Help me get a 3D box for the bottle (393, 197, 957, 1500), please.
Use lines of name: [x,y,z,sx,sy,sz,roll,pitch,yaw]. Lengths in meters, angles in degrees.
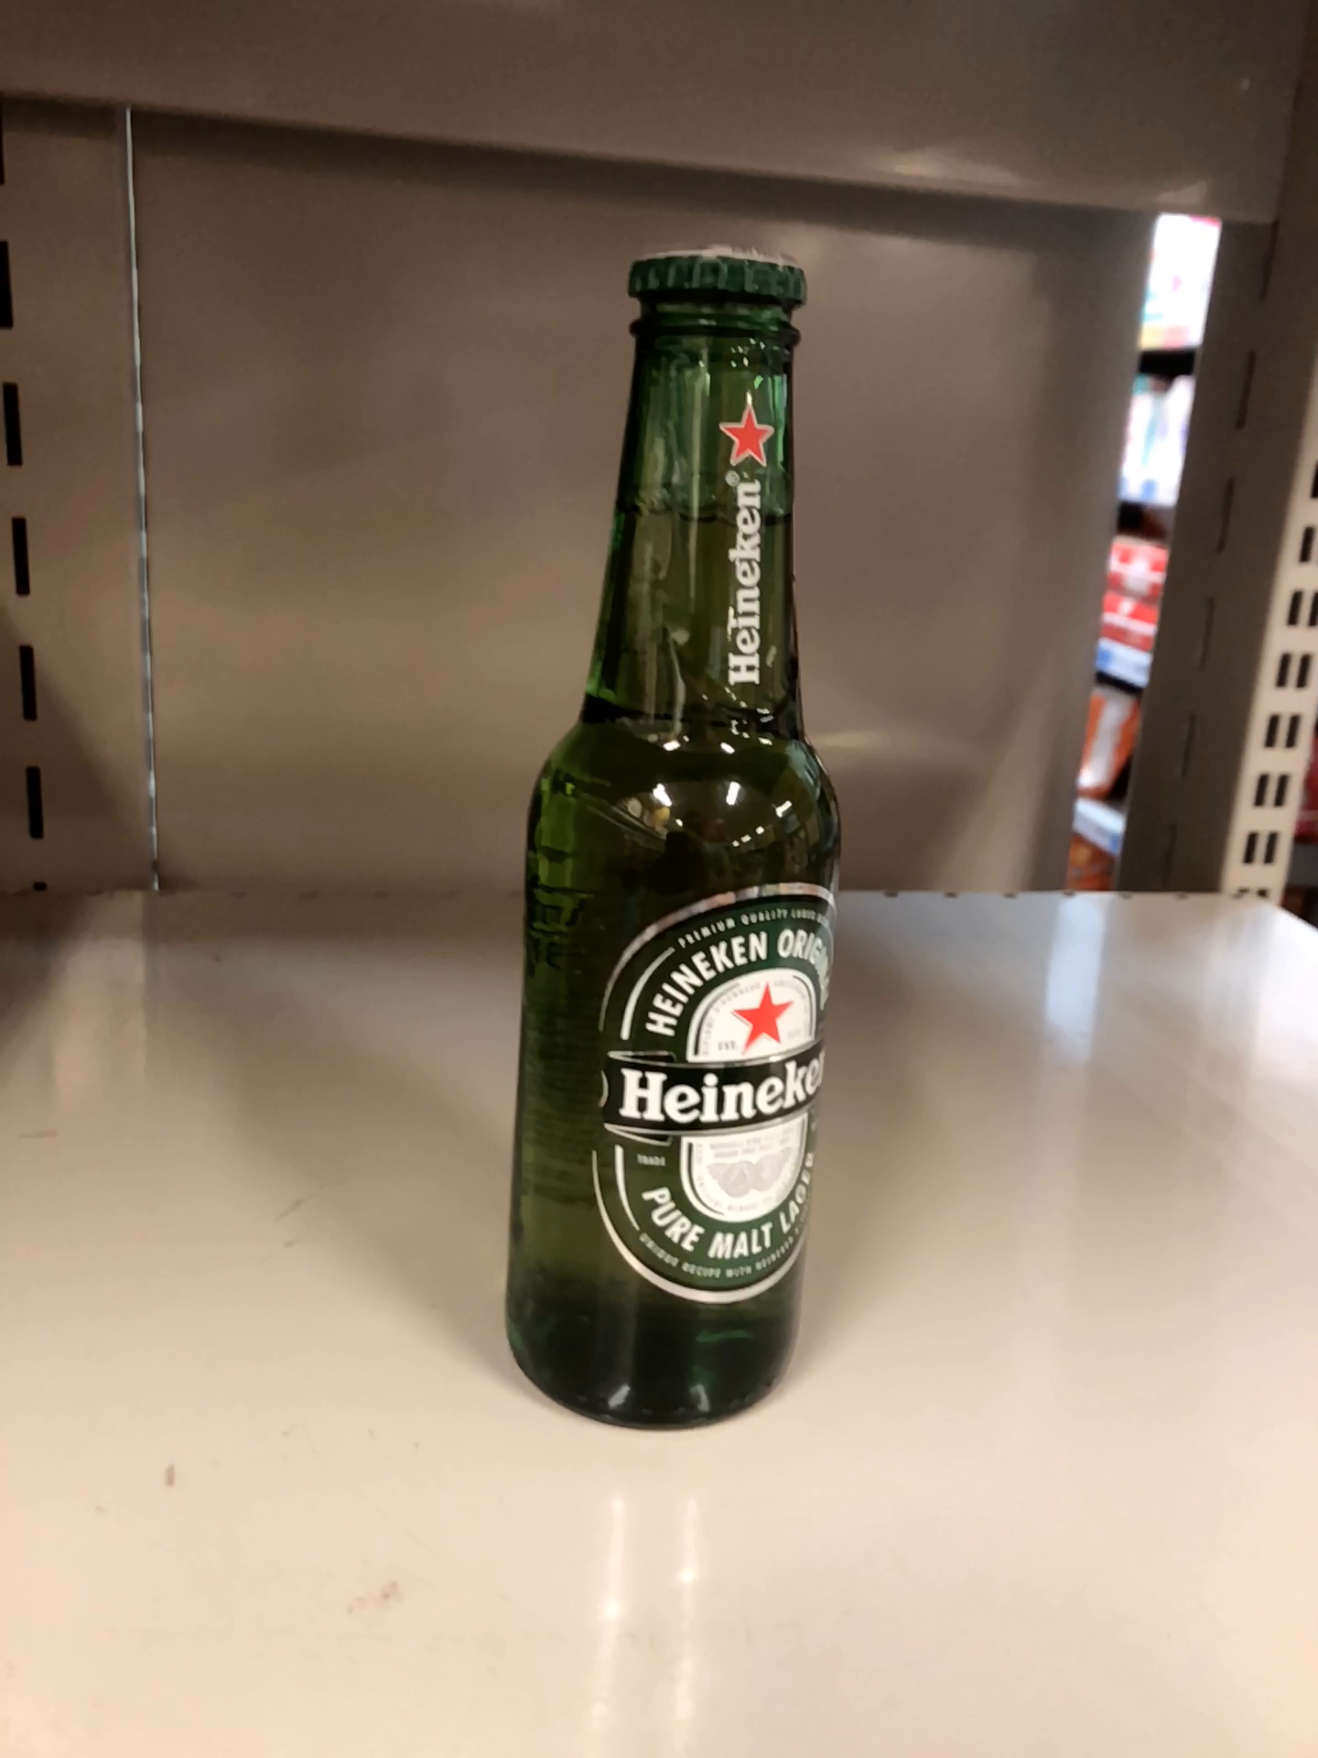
bottle: [-0.004,-0.004,0.255,0.060,0.199,0.060,4,17,-1]
